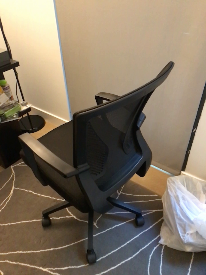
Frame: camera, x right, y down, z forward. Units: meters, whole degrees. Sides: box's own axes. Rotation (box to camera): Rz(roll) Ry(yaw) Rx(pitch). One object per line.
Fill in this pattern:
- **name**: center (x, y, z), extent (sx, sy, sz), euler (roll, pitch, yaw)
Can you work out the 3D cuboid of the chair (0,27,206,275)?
- **chair**: center (-0.049, 0.049, 1.272), extent (0.792, 0.992, 0.834), euler (31, 49, 34)
